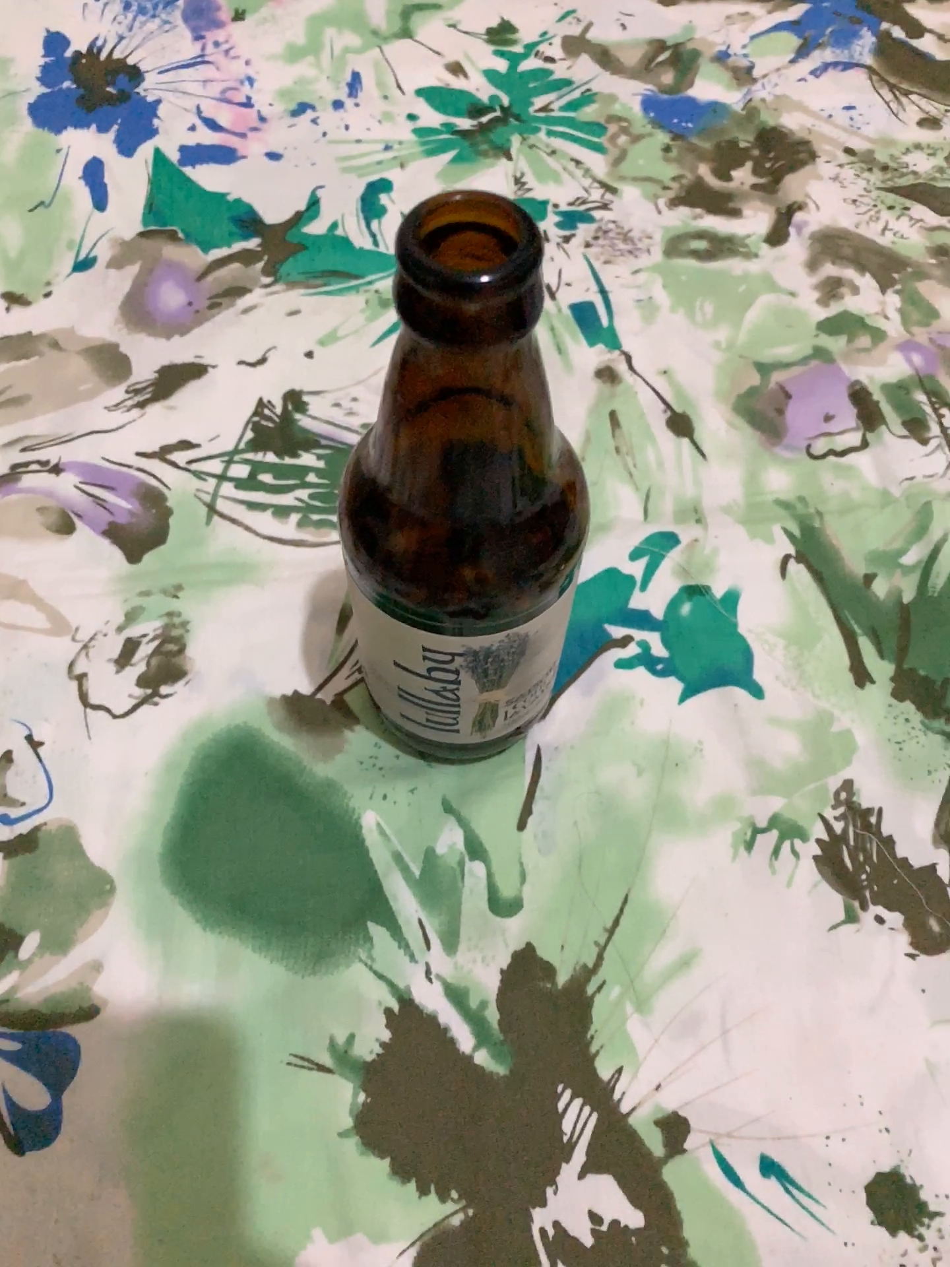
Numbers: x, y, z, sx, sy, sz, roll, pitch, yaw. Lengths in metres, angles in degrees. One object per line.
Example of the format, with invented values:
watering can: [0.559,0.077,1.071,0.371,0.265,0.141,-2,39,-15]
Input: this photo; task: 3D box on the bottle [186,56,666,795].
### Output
bottle: [-0.006,-0.027,0.238,0.070,0.179,0.070,1,62,-1]
